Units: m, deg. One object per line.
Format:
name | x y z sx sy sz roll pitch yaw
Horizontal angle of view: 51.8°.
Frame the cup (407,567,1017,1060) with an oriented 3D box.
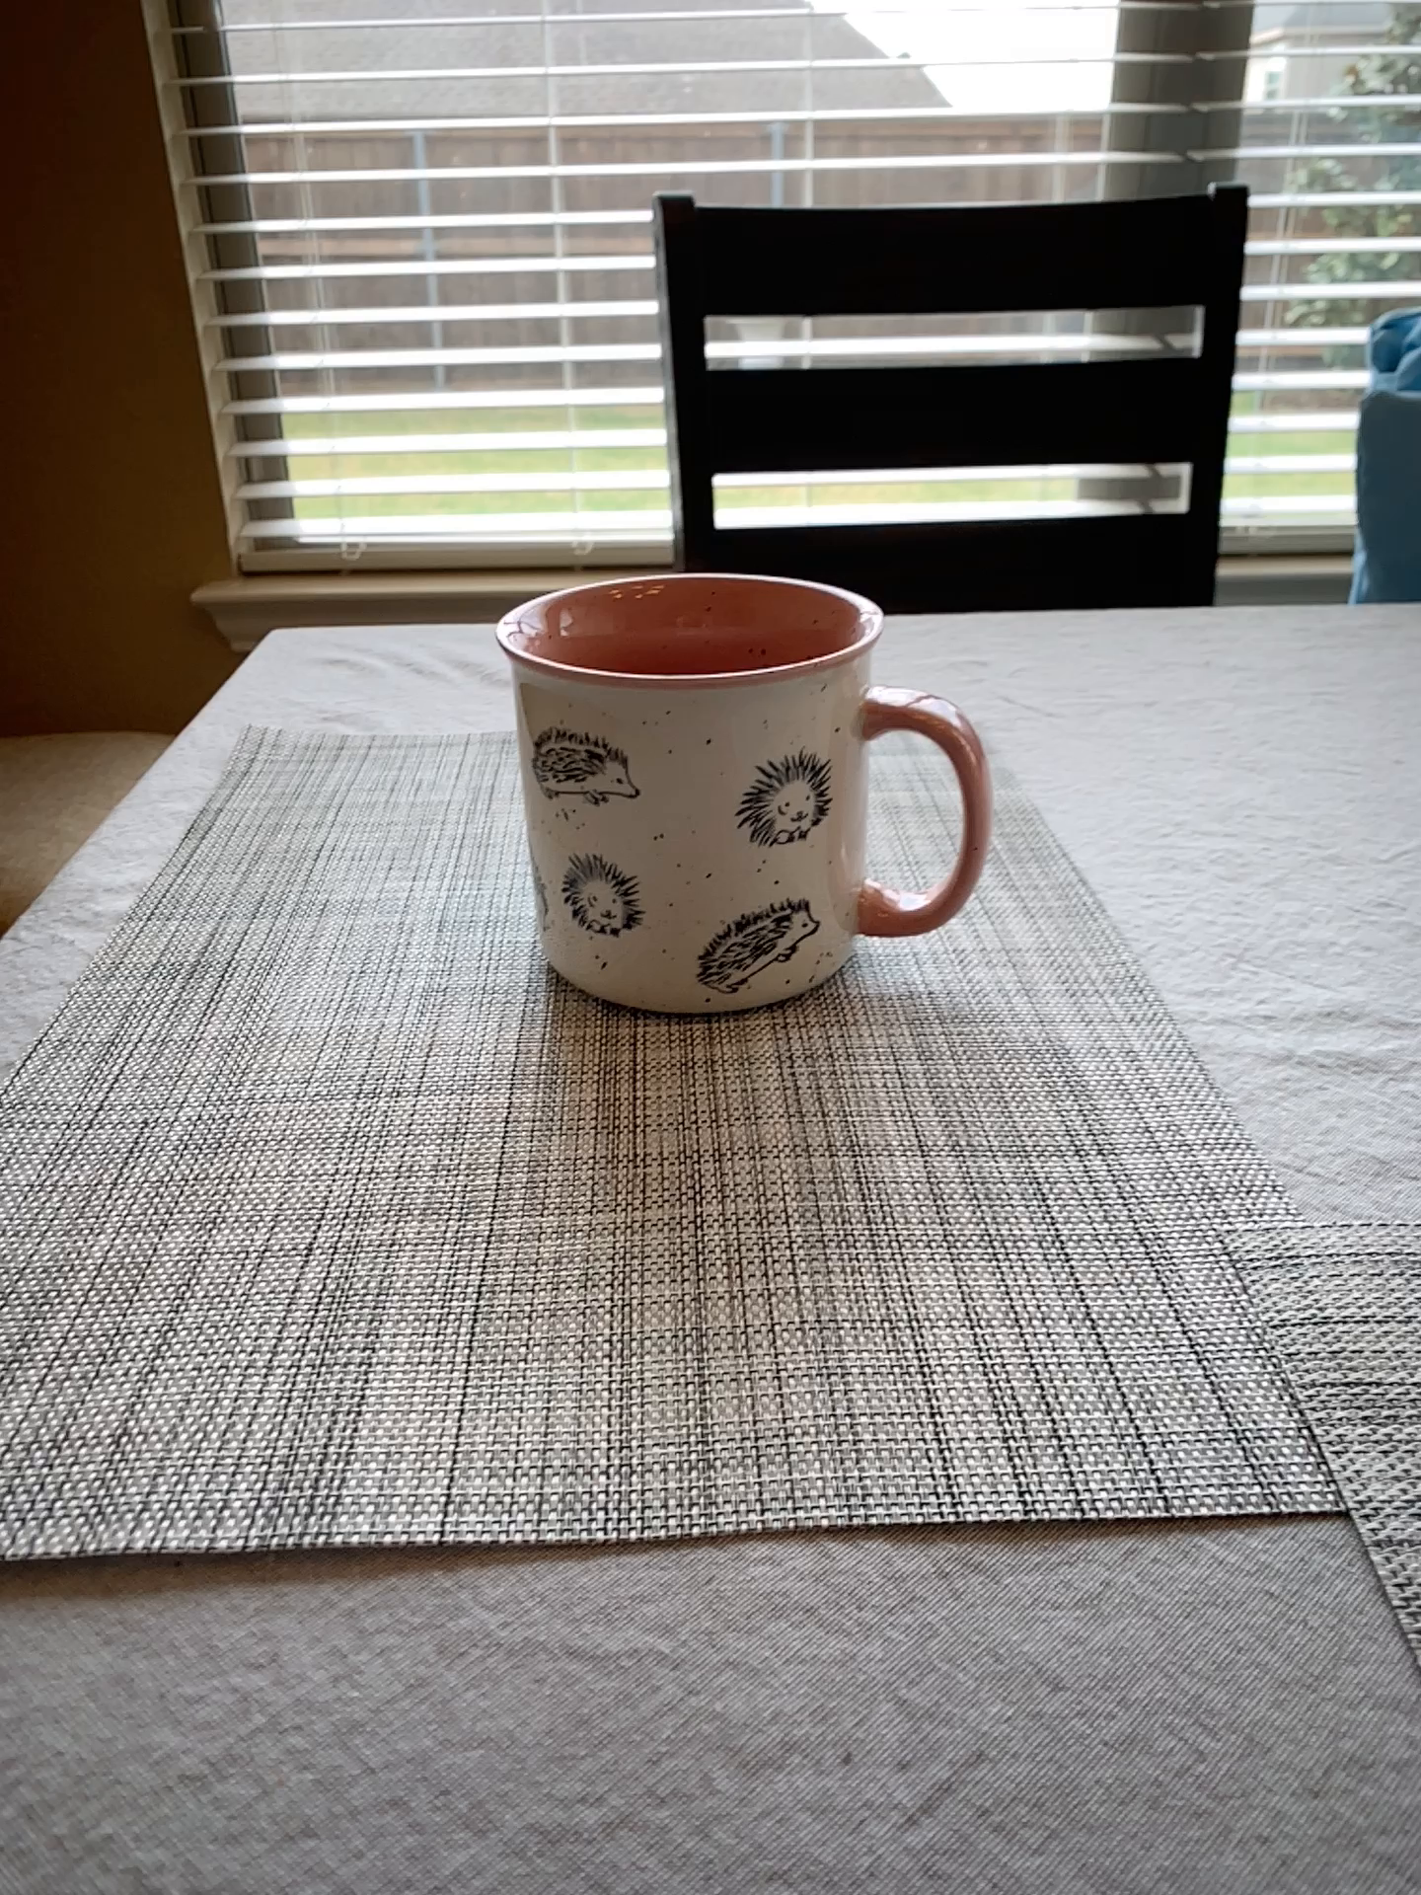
cup | 0.005 -0.046 0.436 0.150 0.106 0.121 2 27 5
